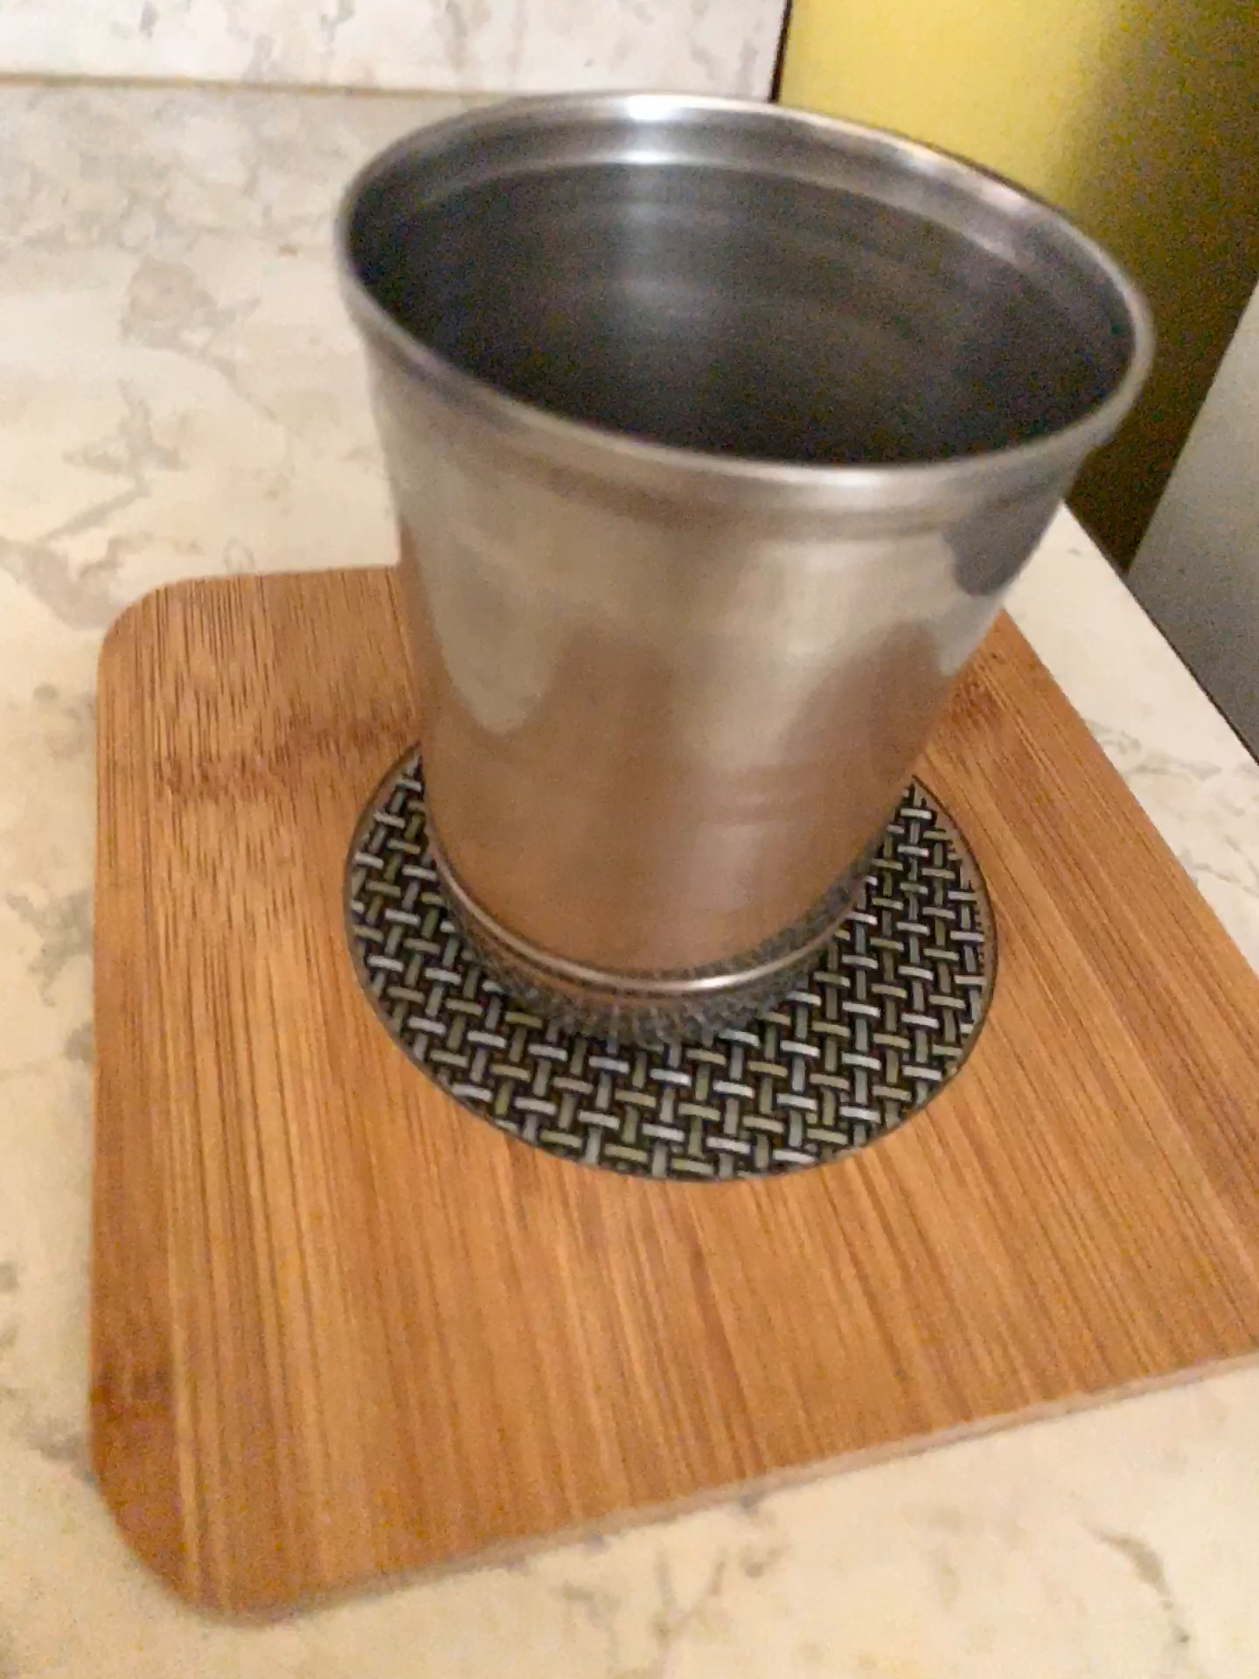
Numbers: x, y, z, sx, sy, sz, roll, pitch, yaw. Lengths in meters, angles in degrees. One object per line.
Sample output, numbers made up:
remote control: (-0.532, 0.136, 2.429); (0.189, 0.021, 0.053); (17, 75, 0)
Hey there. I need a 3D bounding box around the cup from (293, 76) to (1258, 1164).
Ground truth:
cup: (0.004, -0.023, 0.149); (0.070, 0.091, 0.073); (3, 46, -3)
